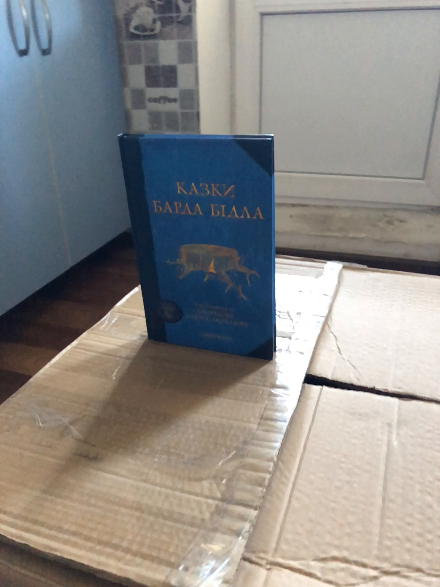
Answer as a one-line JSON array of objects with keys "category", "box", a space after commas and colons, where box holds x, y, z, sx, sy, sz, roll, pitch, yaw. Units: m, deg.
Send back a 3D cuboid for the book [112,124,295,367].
[{"category": "book", "box": [-0.013, -0.040, 0.424, 0.144, 0.199, 0.030, 9, 28, 19]}]
